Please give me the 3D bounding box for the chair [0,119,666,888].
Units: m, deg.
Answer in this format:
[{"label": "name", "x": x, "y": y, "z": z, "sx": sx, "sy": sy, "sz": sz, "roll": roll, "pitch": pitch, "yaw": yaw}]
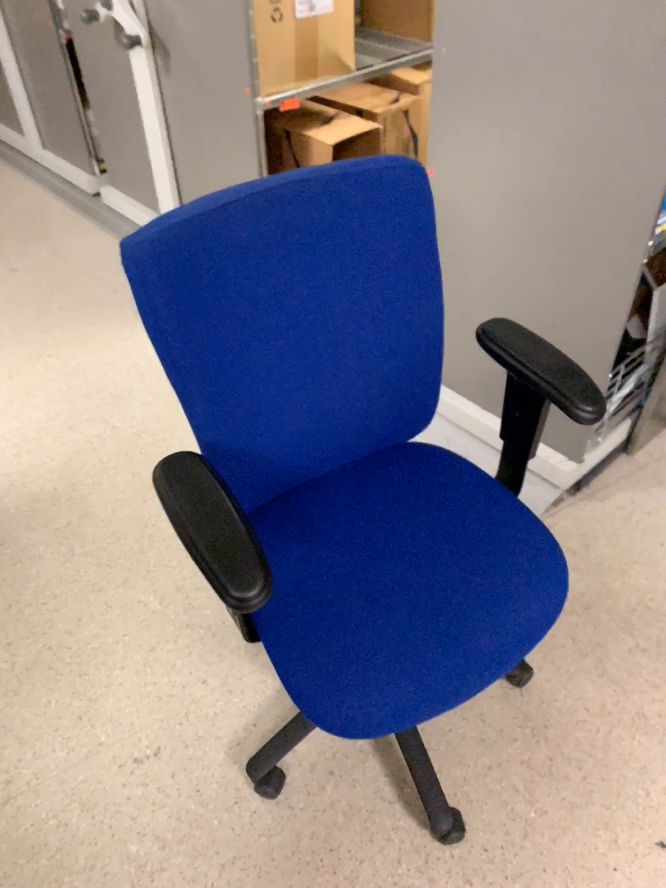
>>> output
[{"label": "chair", "x": 0.062, "y": 0.123, "z": 1.131, "sx": 0.672, "sy": 0.931, "sz": 0.765, "roll": -27, "pitch": 48, "yaw": -24}]
